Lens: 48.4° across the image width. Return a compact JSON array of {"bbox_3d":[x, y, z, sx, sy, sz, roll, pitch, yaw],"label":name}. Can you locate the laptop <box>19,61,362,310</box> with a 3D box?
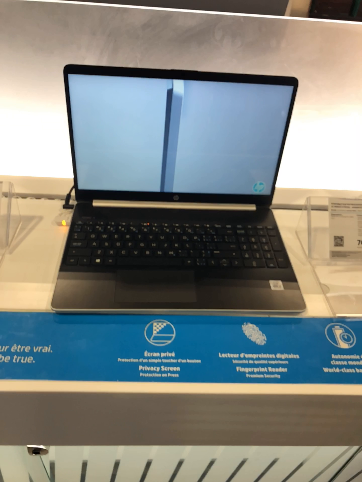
[{"bbox_3d":[0.004,-0.086,0.585,0.355,0.221,0.284,1,43,-4],"label":"laptop"}]
